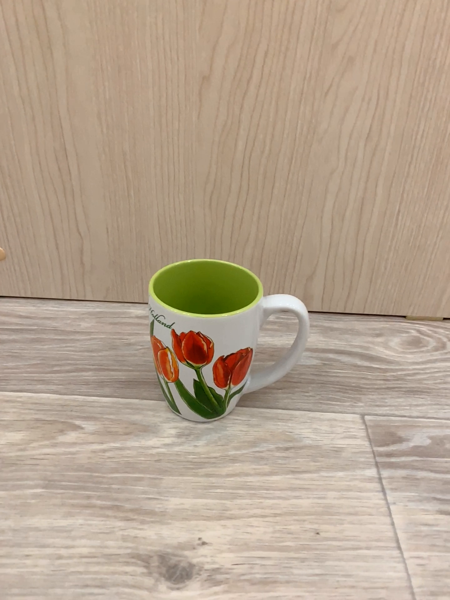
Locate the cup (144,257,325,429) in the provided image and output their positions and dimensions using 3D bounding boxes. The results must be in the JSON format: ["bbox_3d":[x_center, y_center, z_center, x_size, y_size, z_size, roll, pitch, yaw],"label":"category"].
[{"bbox_3d":[0.001,0.030,0.362,0.118,0.101,0.084,0,31,-6],"label":"cup"}]
